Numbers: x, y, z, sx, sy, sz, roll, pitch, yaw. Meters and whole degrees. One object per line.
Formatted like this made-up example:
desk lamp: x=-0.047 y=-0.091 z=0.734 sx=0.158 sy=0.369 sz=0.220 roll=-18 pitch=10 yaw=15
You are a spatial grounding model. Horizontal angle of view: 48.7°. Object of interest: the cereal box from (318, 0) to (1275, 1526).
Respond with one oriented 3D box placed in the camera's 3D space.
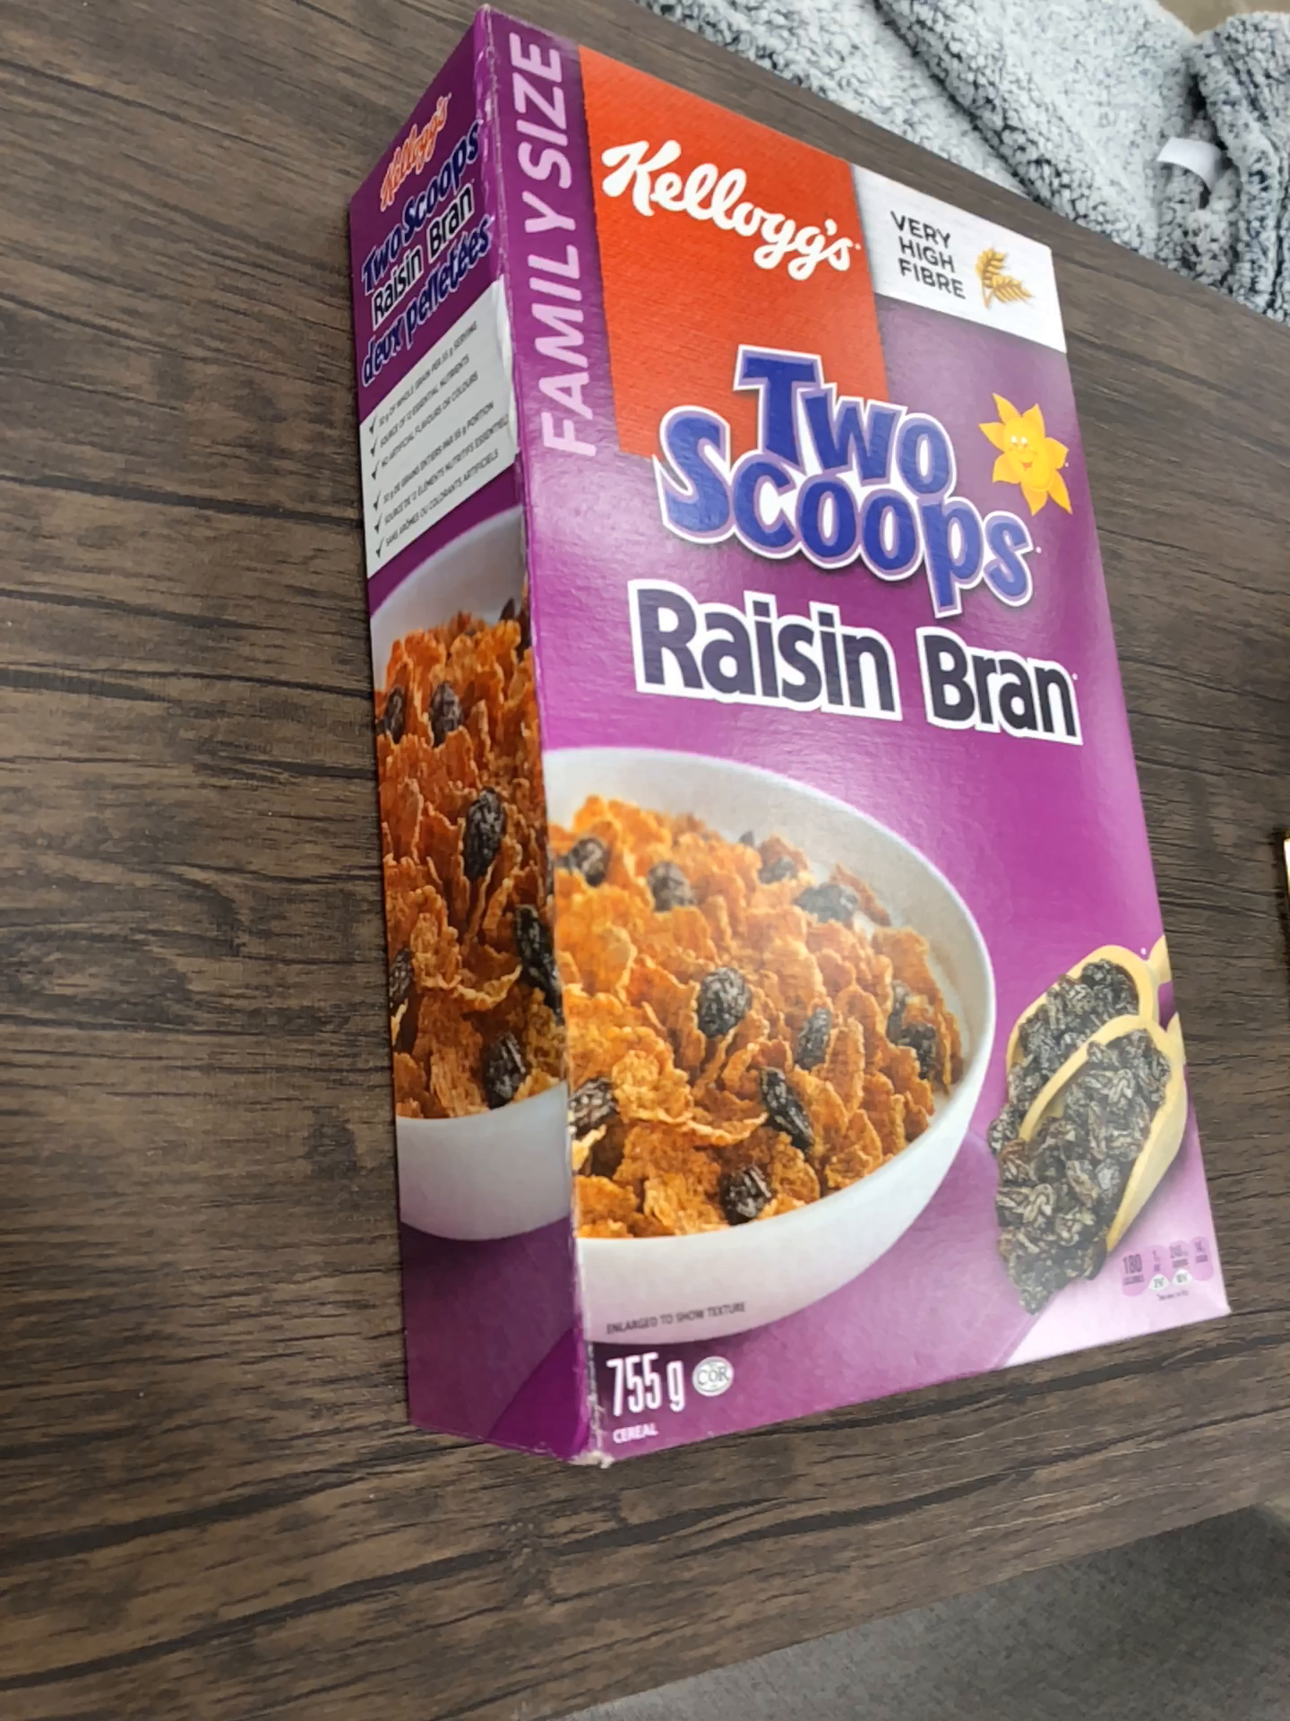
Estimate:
cereal box: x=0.038 y=-0.030 z=0.366 sx=0.211 sy=0.080 sz=0.320 roll=3 pitch=77 yaw=-35
